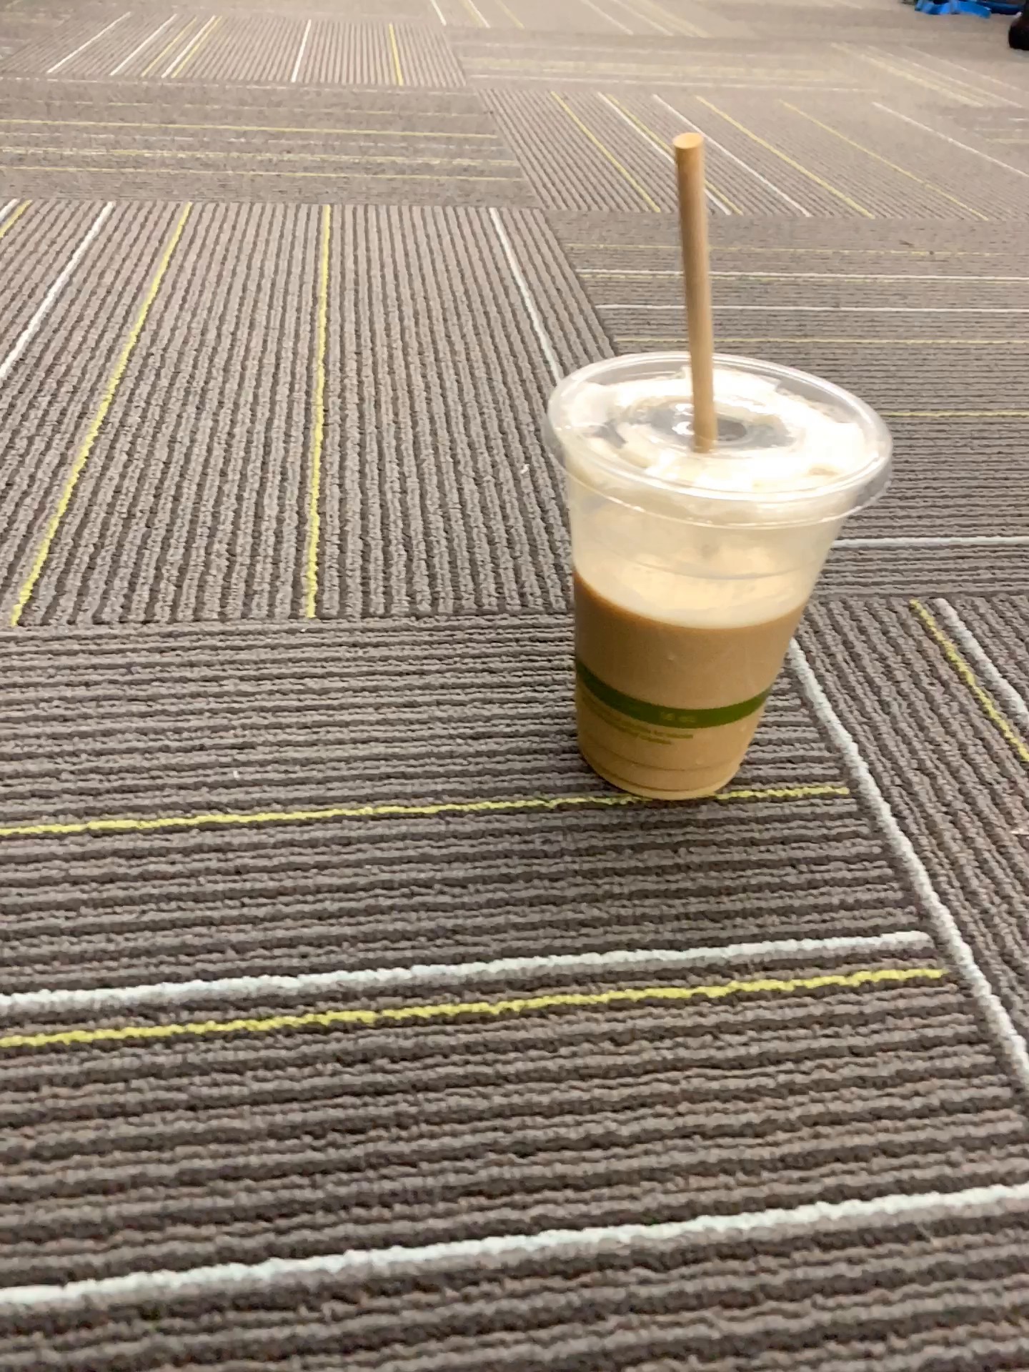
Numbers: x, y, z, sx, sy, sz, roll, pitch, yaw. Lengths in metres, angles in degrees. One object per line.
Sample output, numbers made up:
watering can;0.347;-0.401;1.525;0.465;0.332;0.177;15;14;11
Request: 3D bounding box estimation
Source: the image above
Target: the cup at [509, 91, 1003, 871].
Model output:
cup;0.056;-0.053;0.303;0.090;0.189;0.091;2;38;-1
